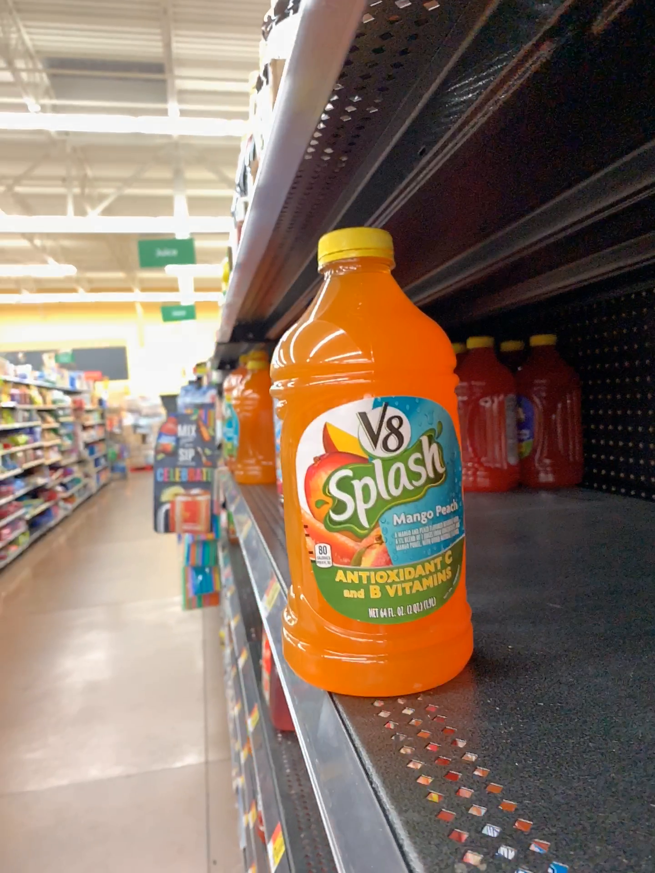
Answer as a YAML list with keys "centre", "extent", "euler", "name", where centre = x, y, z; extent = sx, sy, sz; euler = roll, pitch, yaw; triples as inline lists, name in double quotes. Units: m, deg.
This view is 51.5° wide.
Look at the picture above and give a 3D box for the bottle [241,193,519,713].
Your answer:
- centre: [0.022, 0.004, 0.412]
  extent: [0.128, 0.260, 0.125]
  euler: [-3, 3, 0]
  name: "bottle"
